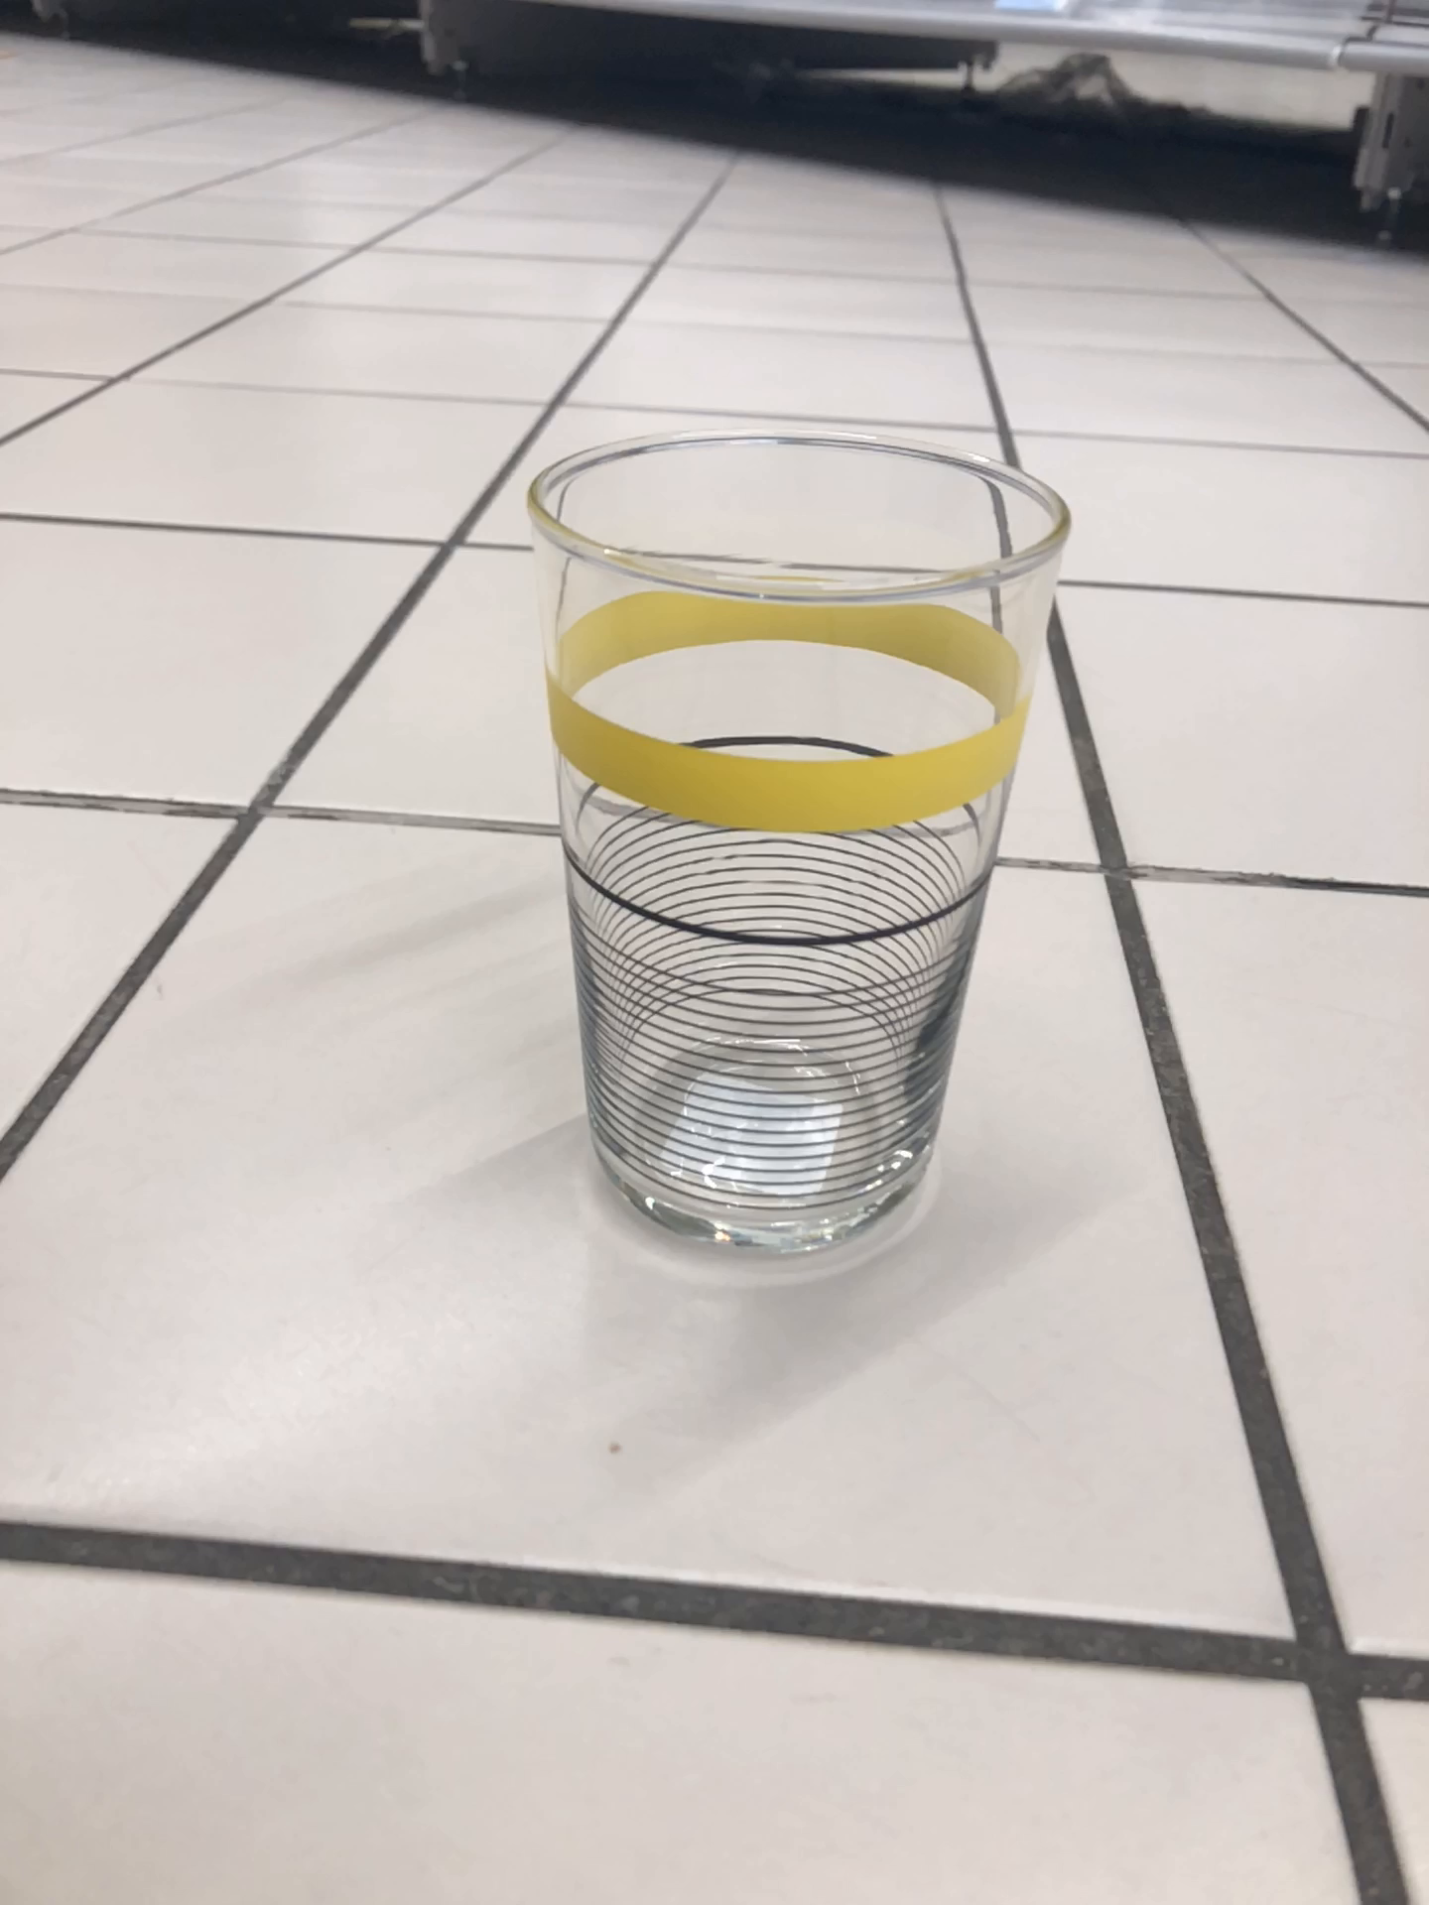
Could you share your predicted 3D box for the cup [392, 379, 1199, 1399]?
[{"bbox_3d":[0.014,-0.015,0.233,0.079,0.114,0.077,0,31,0],"label":"cup"}]
